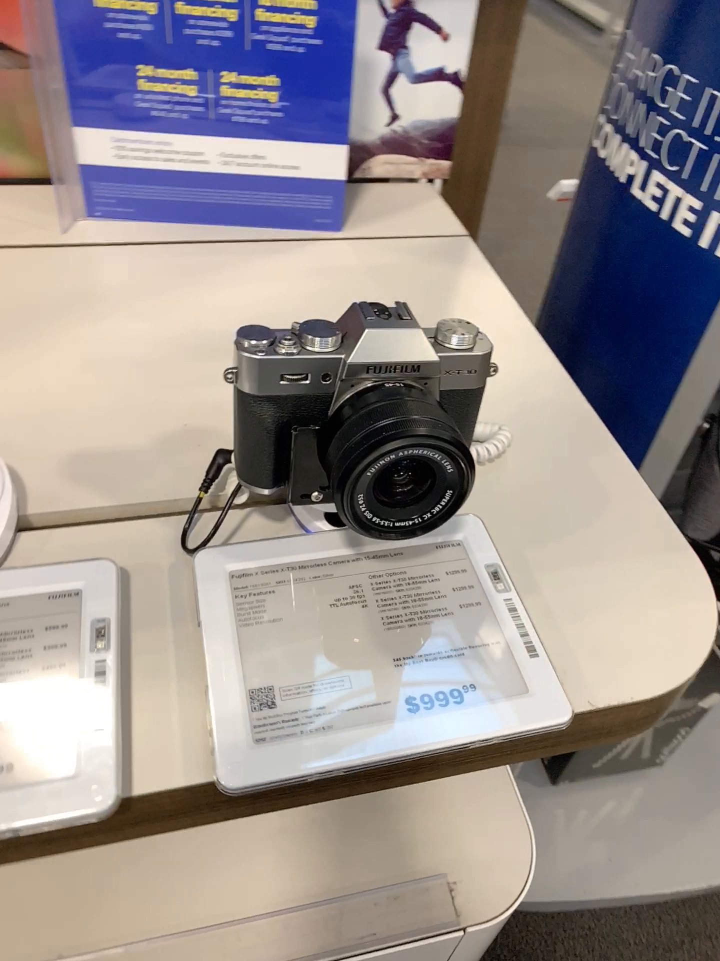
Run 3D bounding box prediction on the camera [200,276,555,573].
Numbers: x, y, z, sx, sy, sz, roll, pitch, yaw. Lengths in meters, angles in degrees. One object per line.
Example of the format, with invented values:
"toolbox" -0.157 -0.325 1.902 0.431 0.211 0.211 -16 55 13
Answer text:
"camera" -0.001 -0.029 0.337 0.130 0.080 0.101 -5 45 -11
